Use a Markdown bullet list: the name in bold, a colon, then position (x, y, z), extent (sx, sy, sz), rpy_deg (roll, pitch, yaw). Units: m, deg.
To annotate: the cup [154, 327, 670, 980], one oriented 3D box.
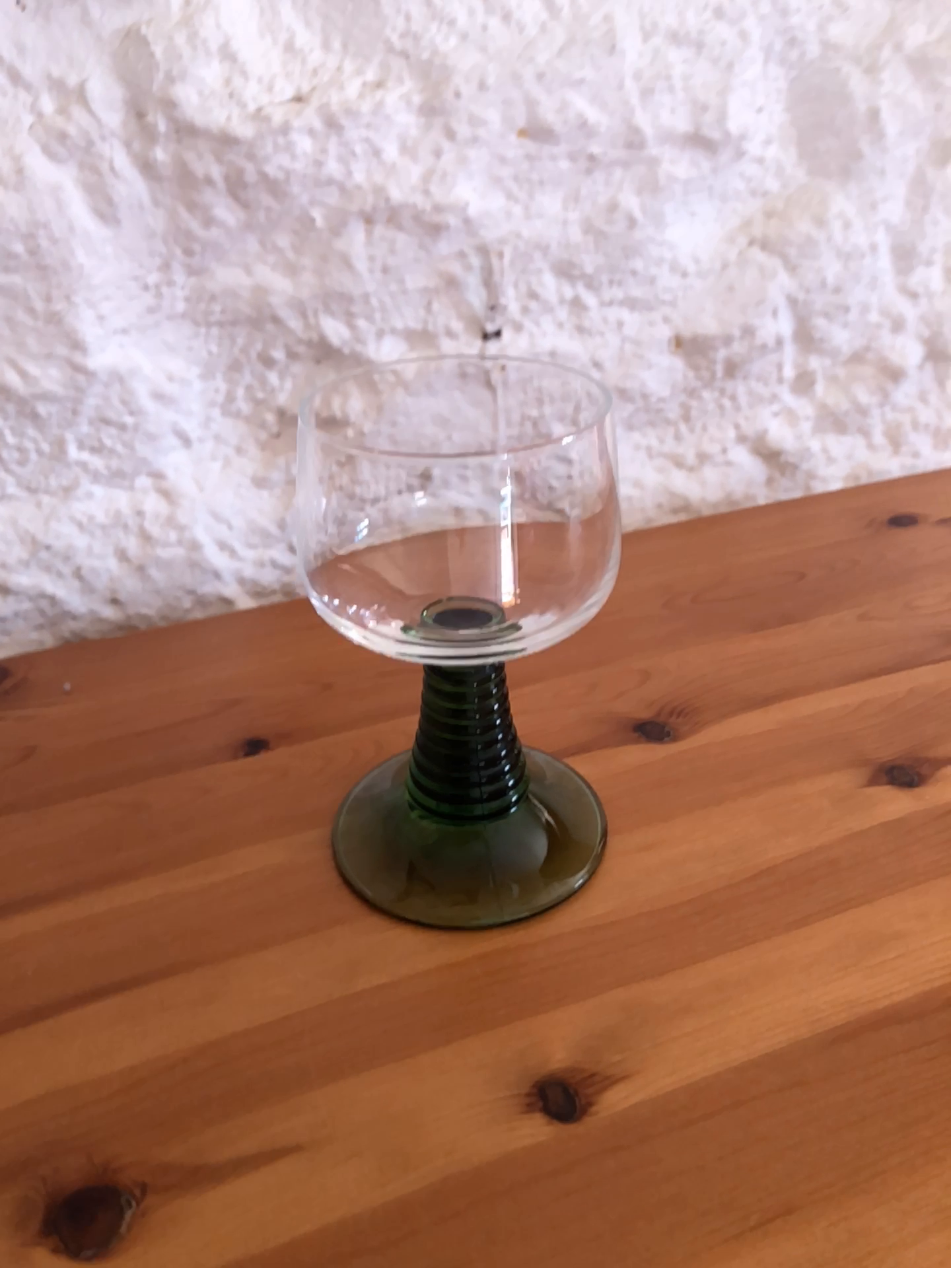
- **cup**: position (-0.007, -0.001, 0.228), extent (0.073, 0.106, 0.075), rpy_deg (-1, 29, 1)
